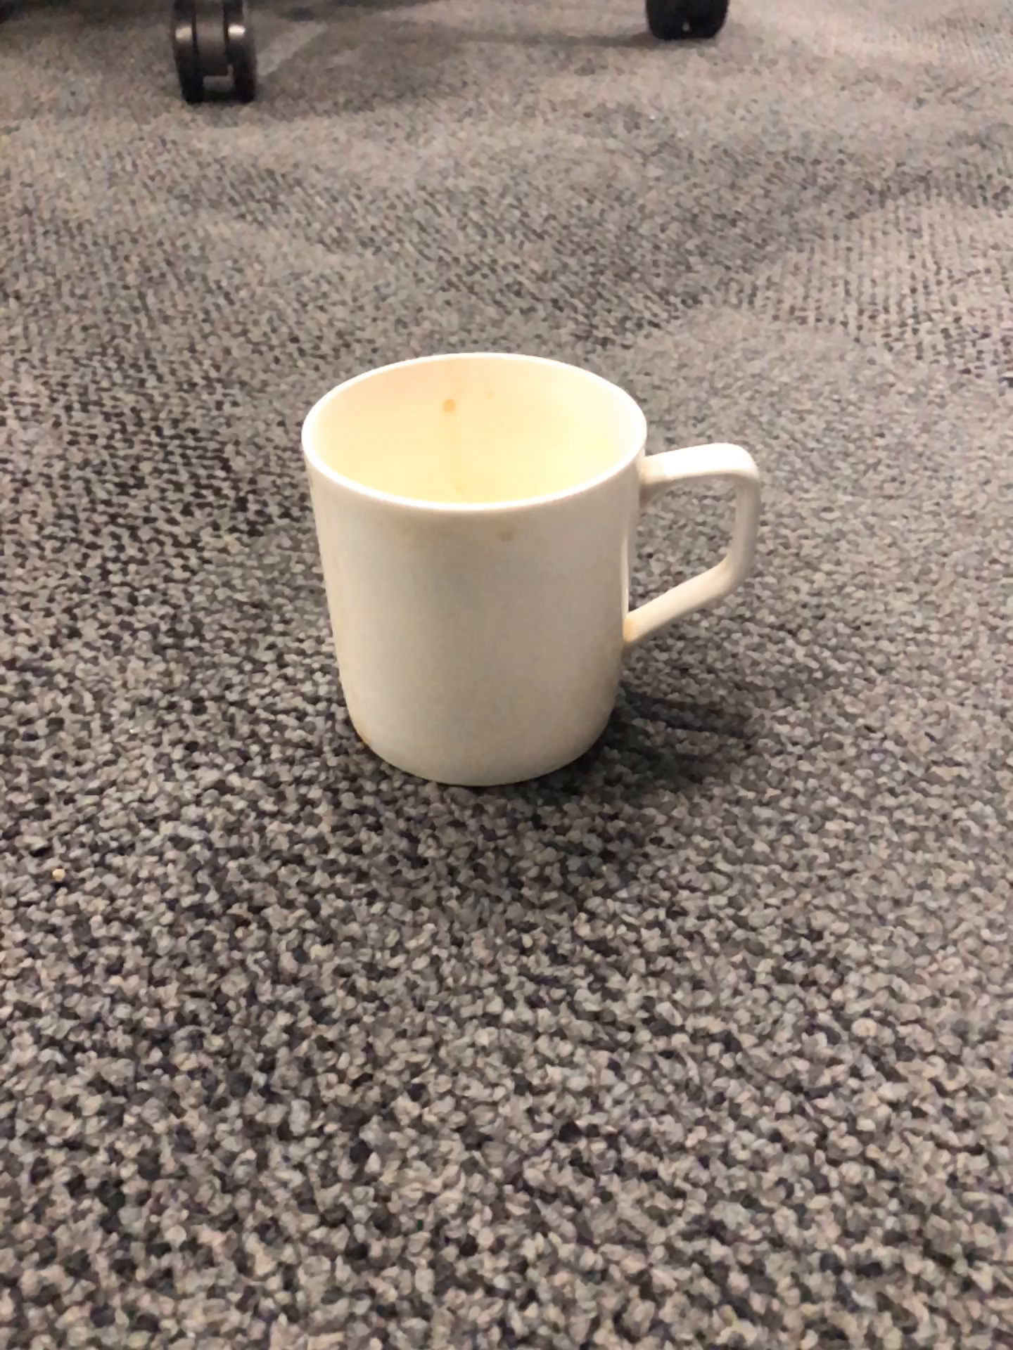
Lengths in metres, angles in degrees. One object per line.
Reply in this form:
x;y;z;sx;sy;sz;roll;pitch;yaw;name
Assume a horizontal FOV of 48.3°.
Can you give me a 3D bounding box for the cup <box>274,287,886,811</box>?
0.009;-0.029;0.233;0.100;0.070;0.070;-8;39;-8;cup
